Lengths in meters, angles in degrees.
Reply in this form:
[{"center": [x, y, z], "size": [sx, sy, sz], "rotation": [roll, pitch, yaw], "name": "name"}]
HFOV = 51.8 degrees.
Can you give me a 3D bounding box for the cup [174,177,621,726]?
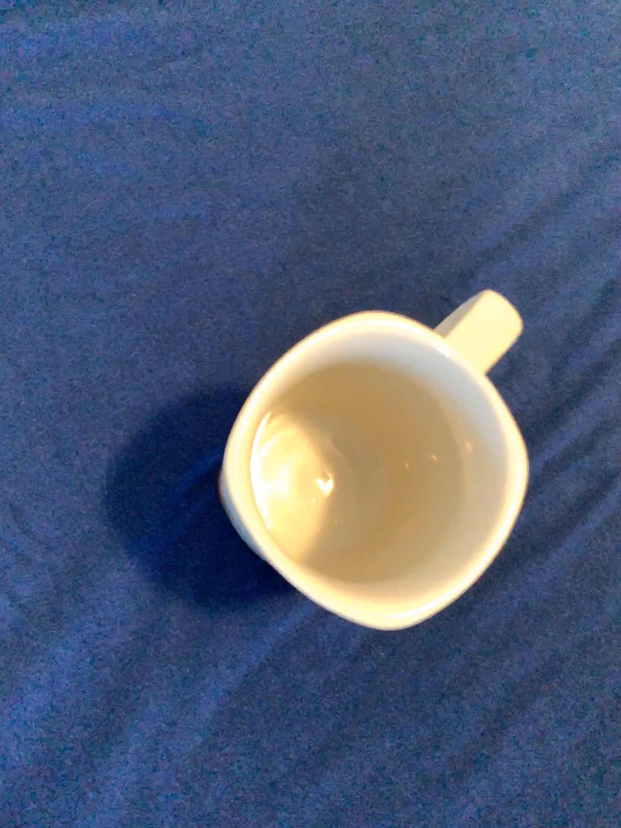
[{"center": [0.026, 0.011, 0.190], "size": [0.070, 0.090, 0.110], "rotation": [45, 74, 0], "name": "cup"}]
